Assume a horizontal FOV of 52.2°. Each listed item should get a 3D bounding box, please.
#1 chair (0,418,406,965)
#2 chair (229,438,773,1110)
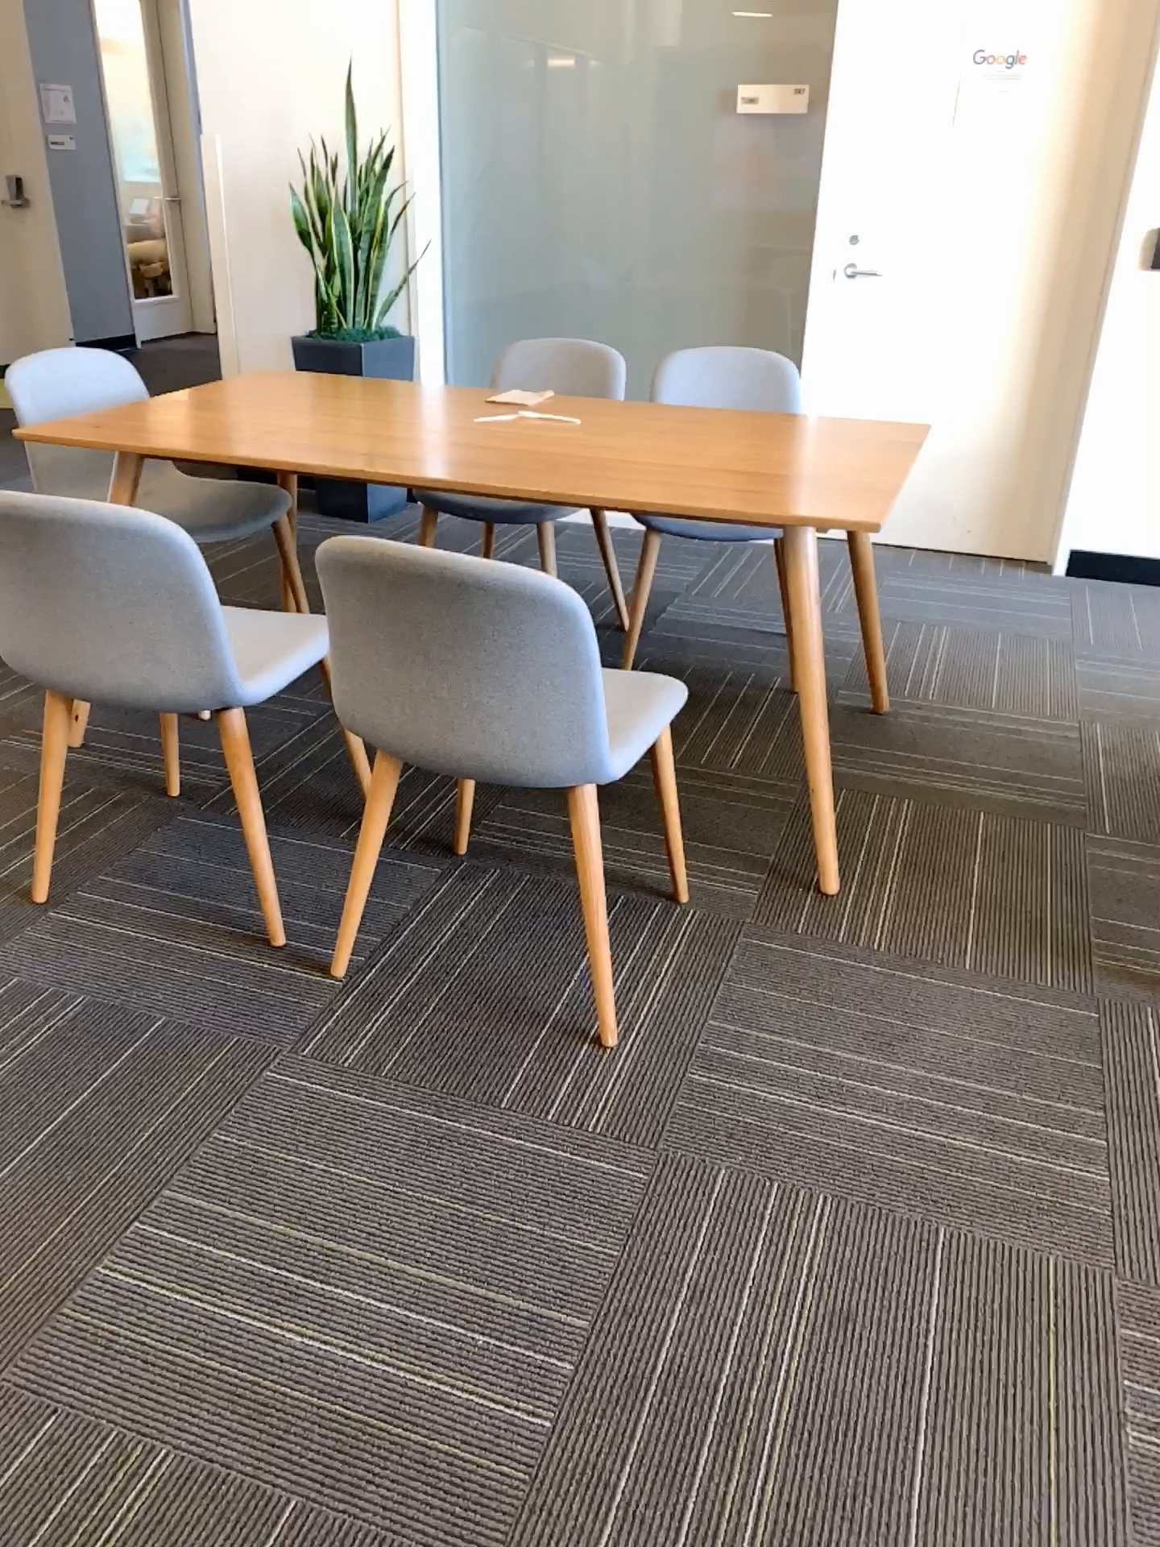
[{"bbox_3d":[-0.707,-0.179,2.153,0.571,0.775,0.533,10,28,16],"label":"chair"},{"bbox_3d":[-0.092,-0.044,1.875,0.591,0.795,0.572,12,28,19],"label":"chair"}]
